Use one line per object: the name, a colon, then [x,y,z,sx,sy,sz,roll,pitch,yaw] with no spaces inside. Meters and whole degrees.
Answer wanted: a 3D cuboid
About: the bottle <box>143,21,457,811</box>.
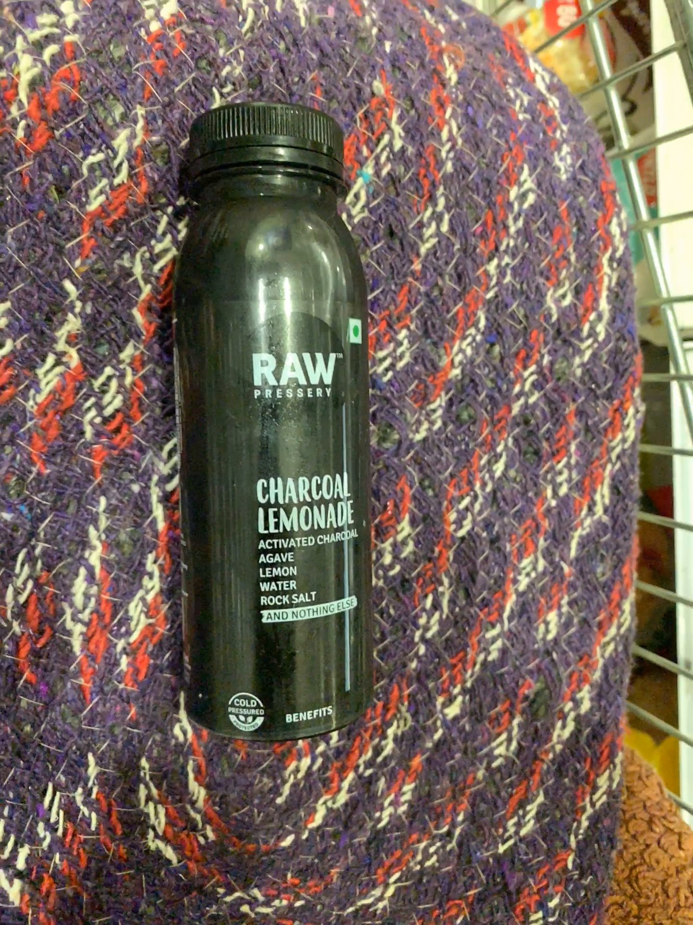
bottle: [-0.016,-0.008,0.182,0.060,0.050,0.160,-2,98,-26]
